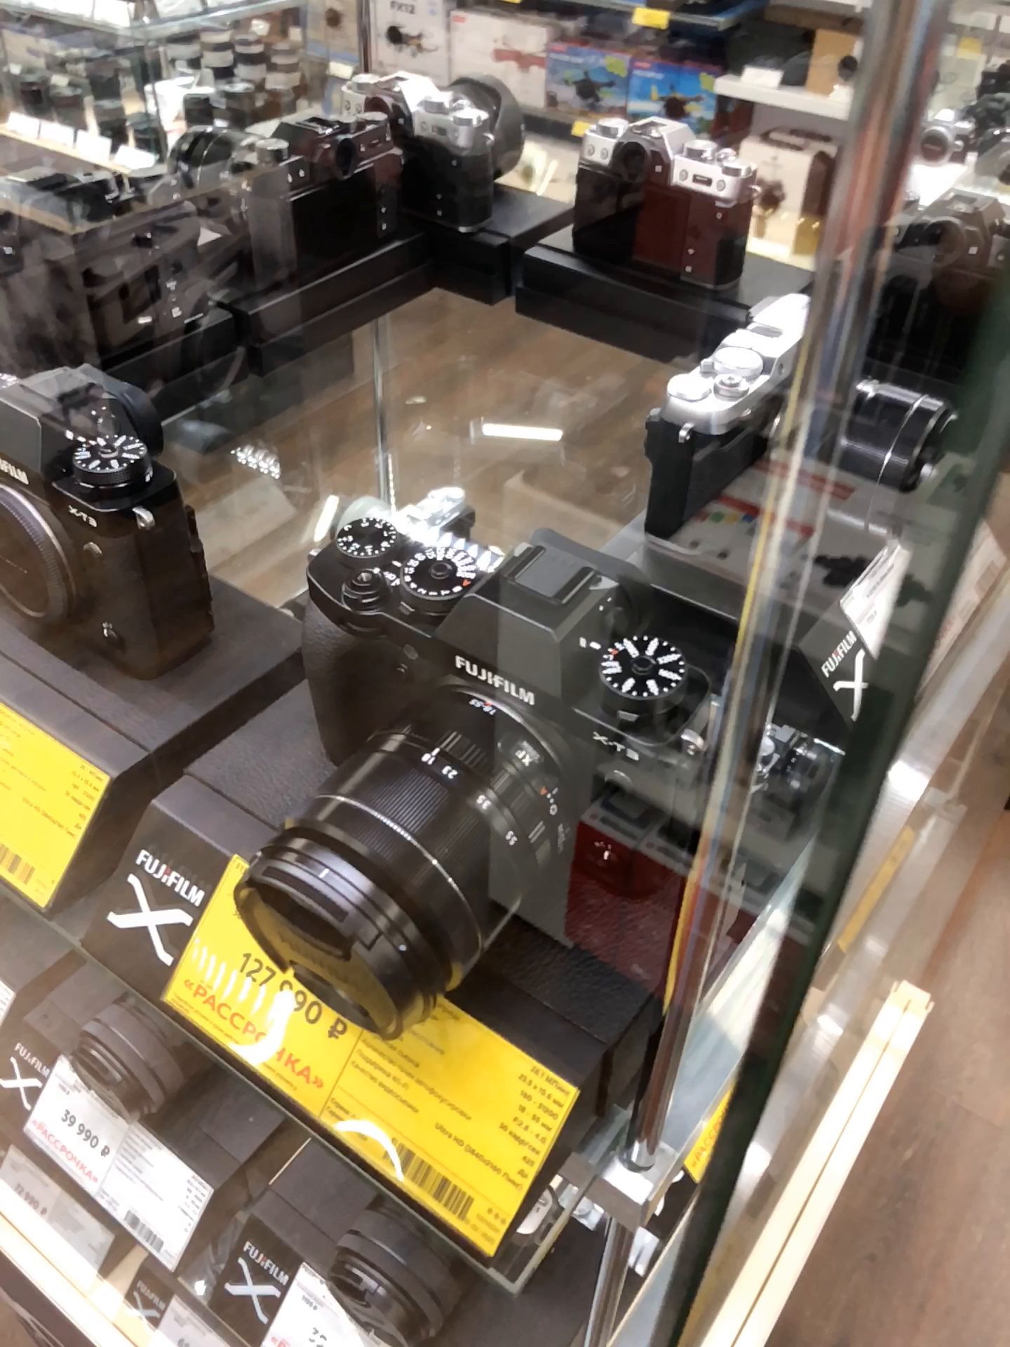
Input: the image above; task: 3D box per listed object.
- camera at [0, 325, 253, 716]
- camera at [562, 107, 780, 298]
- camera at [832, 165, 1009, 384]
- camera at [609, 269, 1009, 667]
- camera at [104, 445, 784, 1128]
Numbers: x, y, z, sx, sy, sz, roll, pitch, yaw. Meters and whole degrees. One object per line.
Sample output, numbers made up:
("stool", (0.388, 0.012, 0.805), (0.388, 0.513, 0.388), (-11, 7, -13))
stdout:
("camera", (-0.168, -0.060, 0.416), (0.125, 0.088, 0.066), (26, 47, 25))
("camera", (0.097, -0.286, 0.673), (0.109, 0.074, 0.056), (29, 48, 28))
("camera", (0.246, -0.216, 0.599), (0.109, 0.074, 0.056), (29, 48, 28))
("camera", (0.129, -0.092, 0.463), (0.115, 0.088, 0.125), (28, 47, 26))
("camera", (-0.013, 0.023, 0.319), (0.129, 0.099, 0.120), (25, 46, 24))
